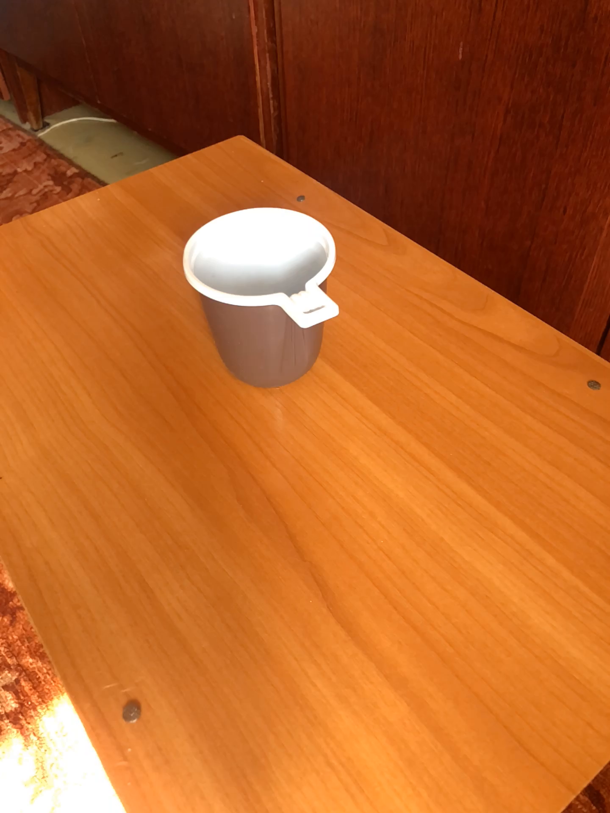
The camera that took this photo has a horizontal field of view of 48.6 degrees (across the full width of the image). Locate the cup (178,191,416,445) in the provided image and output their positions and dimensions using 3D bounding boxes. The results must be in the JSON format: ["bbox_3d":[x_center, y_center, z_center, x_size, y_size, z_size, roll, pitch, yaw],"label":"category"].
[{"bbox_3d":[-0.006,-0.047,0.332,0.070,0.060,0.100,-23,50,-18],"label":"cup"}]
